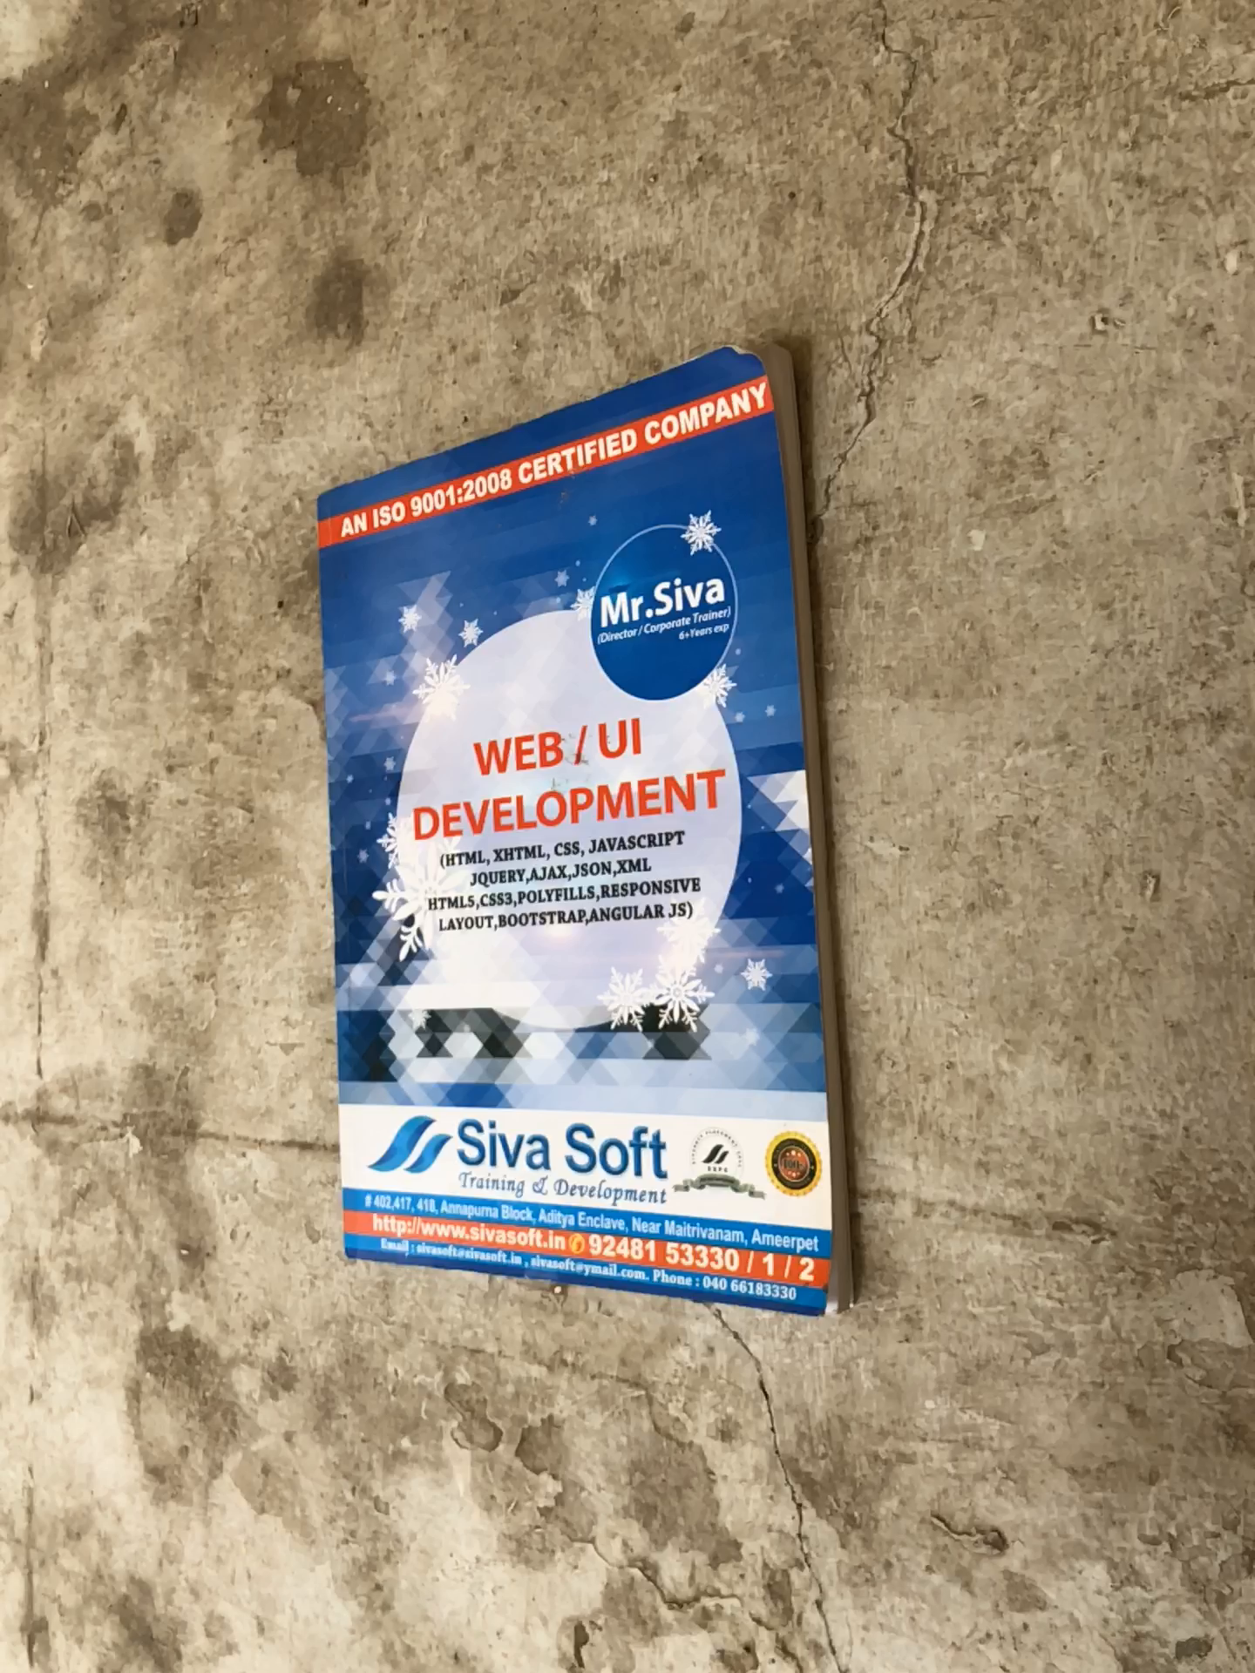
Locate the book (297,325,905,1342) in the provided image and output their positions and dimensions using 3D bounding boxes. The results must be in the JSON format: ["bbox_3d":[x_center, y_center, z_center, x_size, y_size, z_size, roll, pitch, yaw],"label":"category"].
[{"bbox_3d":[-0.021,0.005,0.457,0.211,0.030,0.280,-6,86,36],"label":"book"}]
